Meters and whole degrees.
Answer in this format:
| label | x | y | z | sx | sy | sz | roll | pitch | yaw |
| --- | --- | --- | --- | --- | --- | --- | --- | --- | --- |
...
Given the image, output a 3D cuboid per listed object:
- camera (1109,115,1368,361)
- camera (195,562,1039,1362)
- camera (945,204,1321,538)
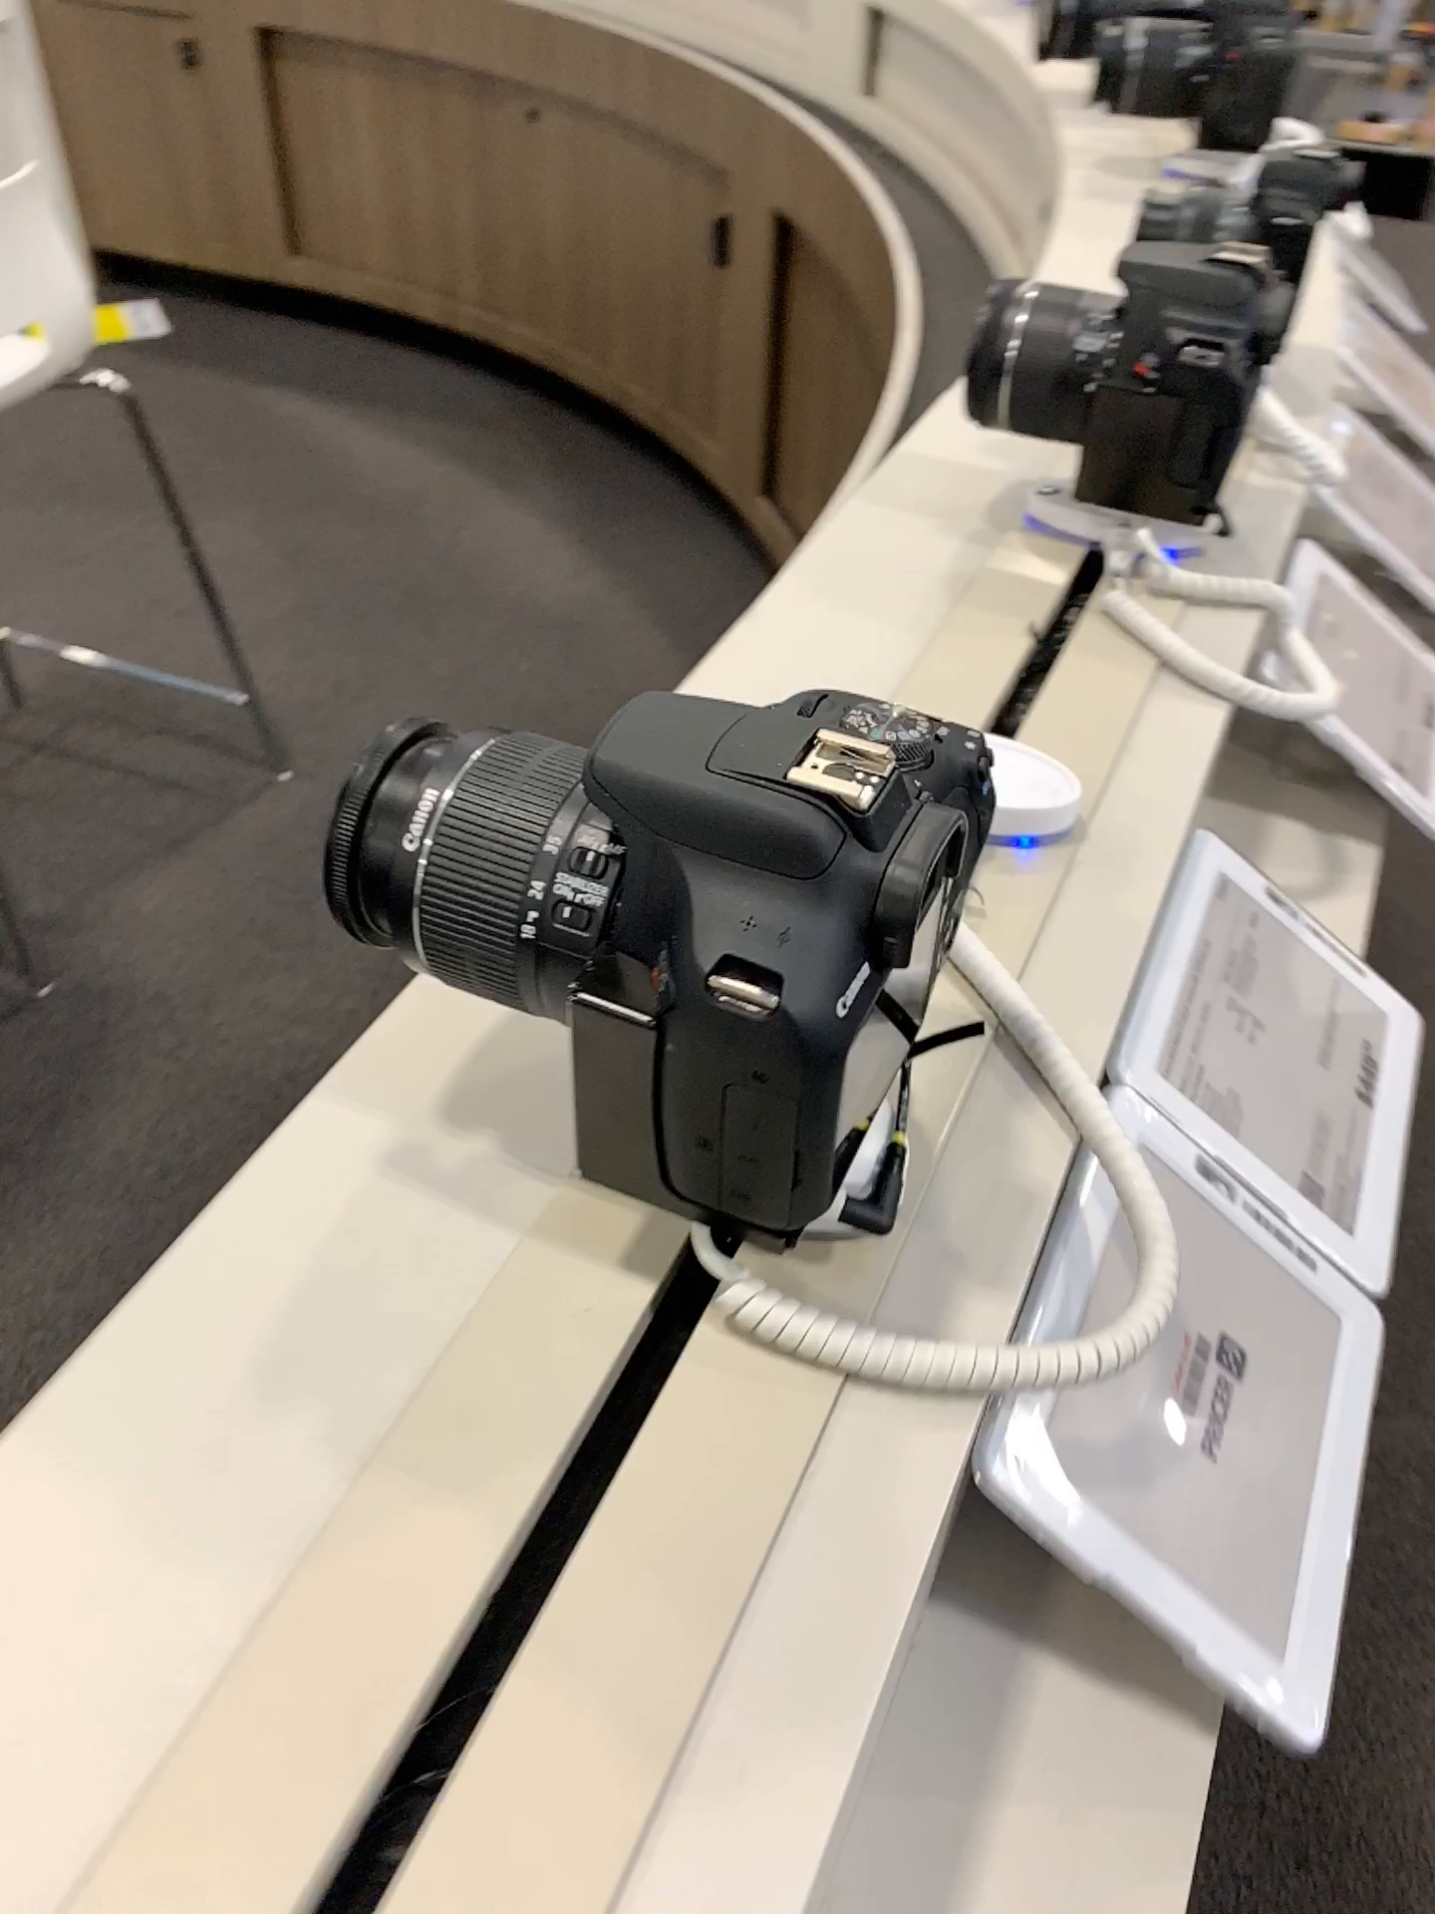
| label | x | y | z | sx | sy | sz | roll | pitch | yaw |
| --- | --- | --- | --- | --- | --- | --- | --- | --- | --- |
| camera | 0.294 | -0.408 | 0.837 | 0.111 | 0.088 | 0.112 | 14 | 43 | 14 |
| camera | -0.017 | -0.008 | 0.370 | 0.146 | 0.101 | 0.134 | 18 | 44 | 18 |
| camera | 0.189 | -0.270 | 0.675 | 0.135 | 0.089 | 0.122 | 14 | 43 | 14 |
